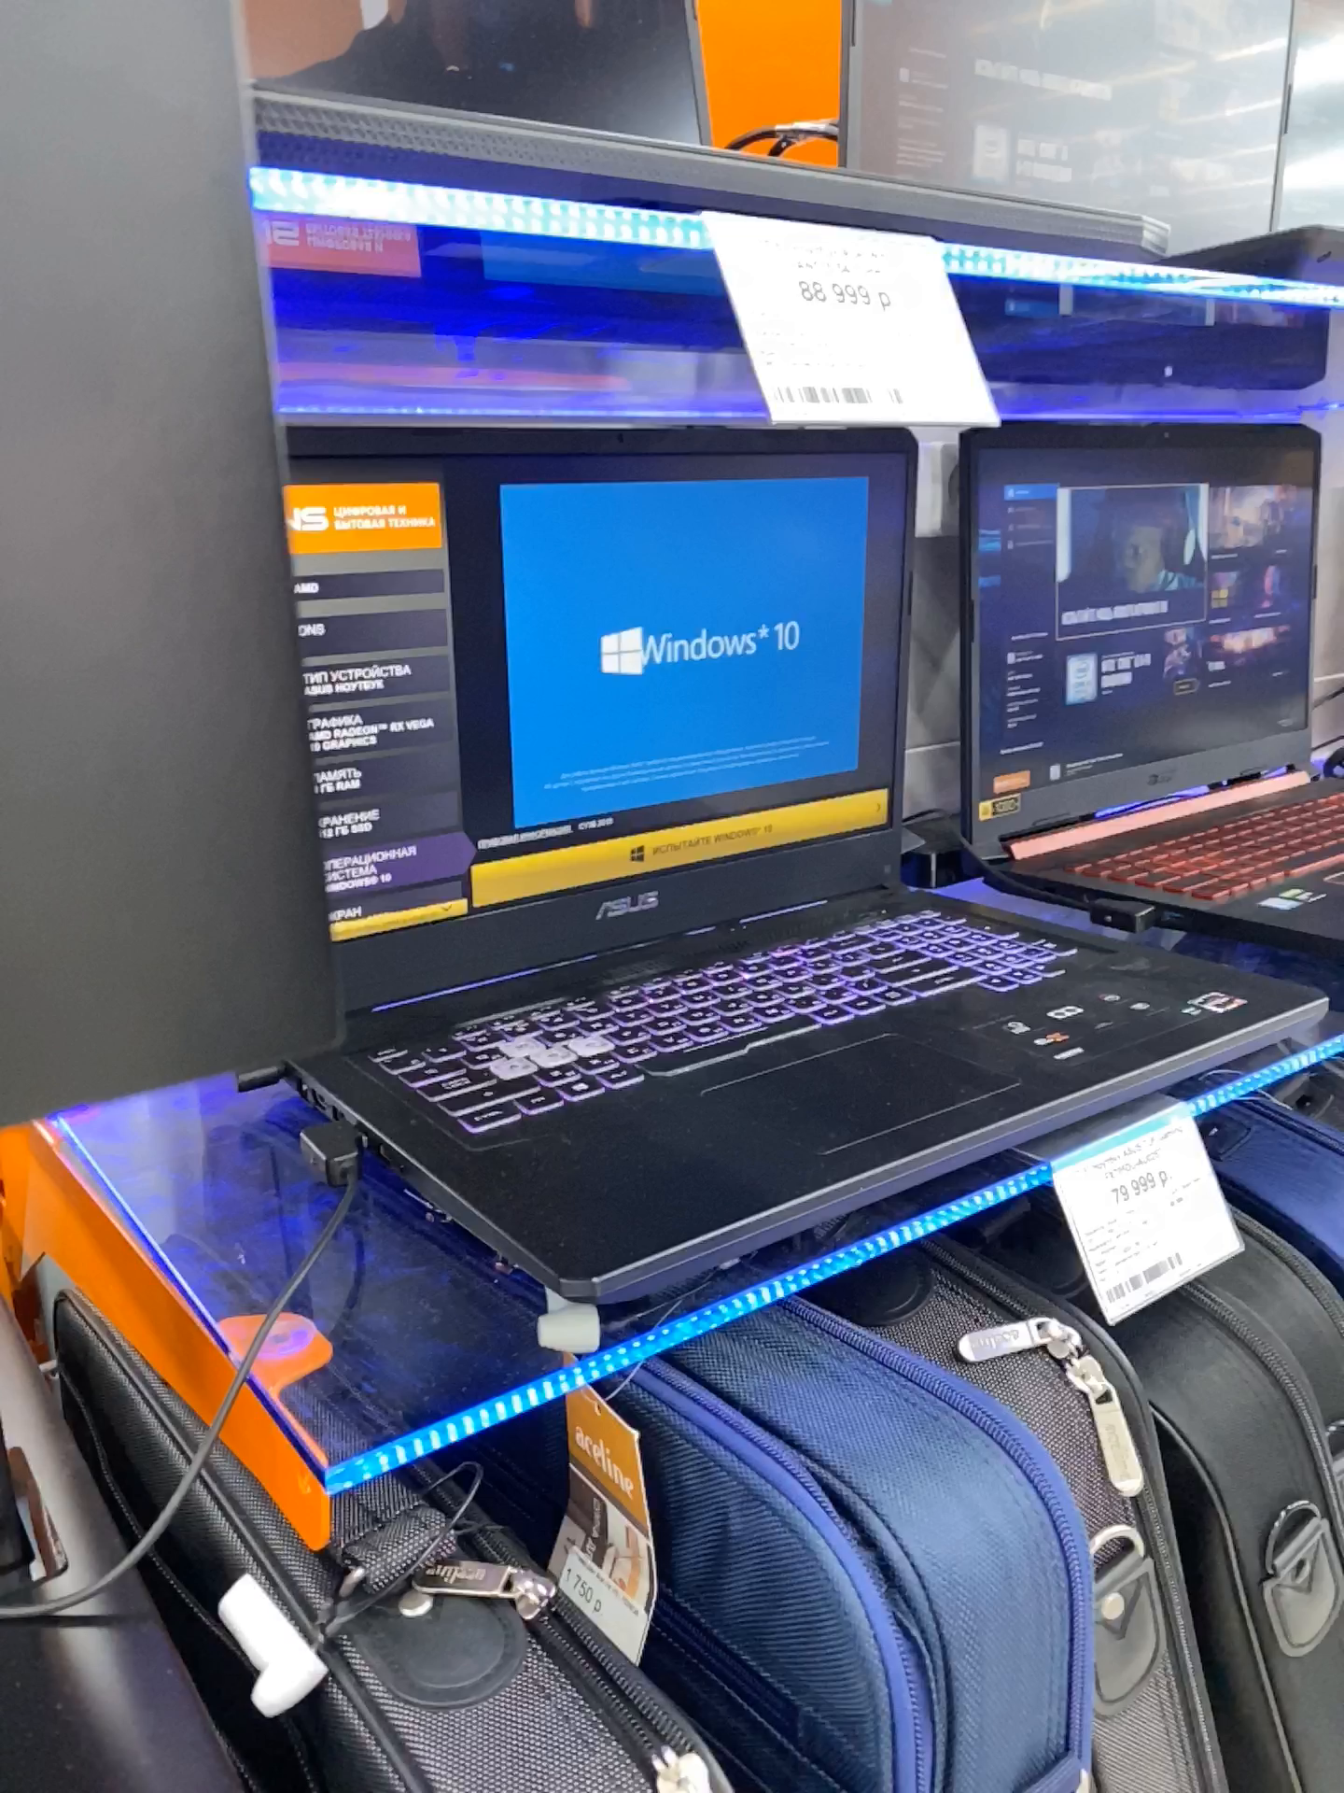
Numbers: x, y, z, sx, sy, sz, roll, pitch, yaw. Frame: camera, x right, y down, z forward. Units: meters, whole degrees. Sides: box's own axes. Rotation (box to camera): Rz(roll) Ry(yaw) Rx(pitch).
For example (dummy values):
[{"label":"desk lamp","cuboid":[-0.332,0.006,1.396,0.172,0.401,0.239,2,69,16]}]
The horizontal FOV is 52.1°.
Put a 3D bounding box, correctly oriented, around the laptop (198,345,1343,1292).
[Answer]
[{"label":"laptop","cuboid":[0.052,-0.069,0.595,0.397,0.265,0.269,-12,17,-33]}]
